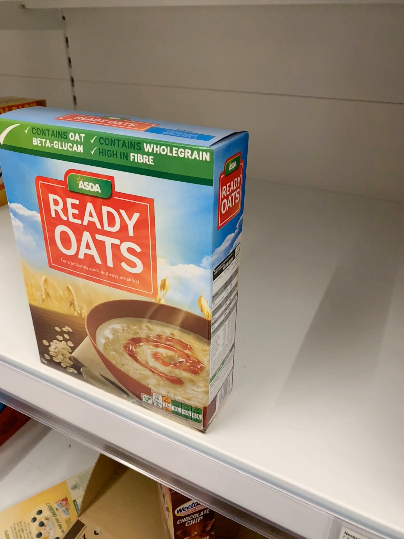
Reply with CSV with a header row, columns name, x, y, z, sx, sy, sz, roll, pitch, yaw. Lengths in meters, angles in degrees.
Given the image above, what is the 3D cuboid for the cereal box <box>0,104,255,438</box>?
name,x,y,z,sx,sy,sz,roll,pitch,yaw
cereal box,-0.071,-0.002,0.381,0.210,0.258,0.071,15,32,24
